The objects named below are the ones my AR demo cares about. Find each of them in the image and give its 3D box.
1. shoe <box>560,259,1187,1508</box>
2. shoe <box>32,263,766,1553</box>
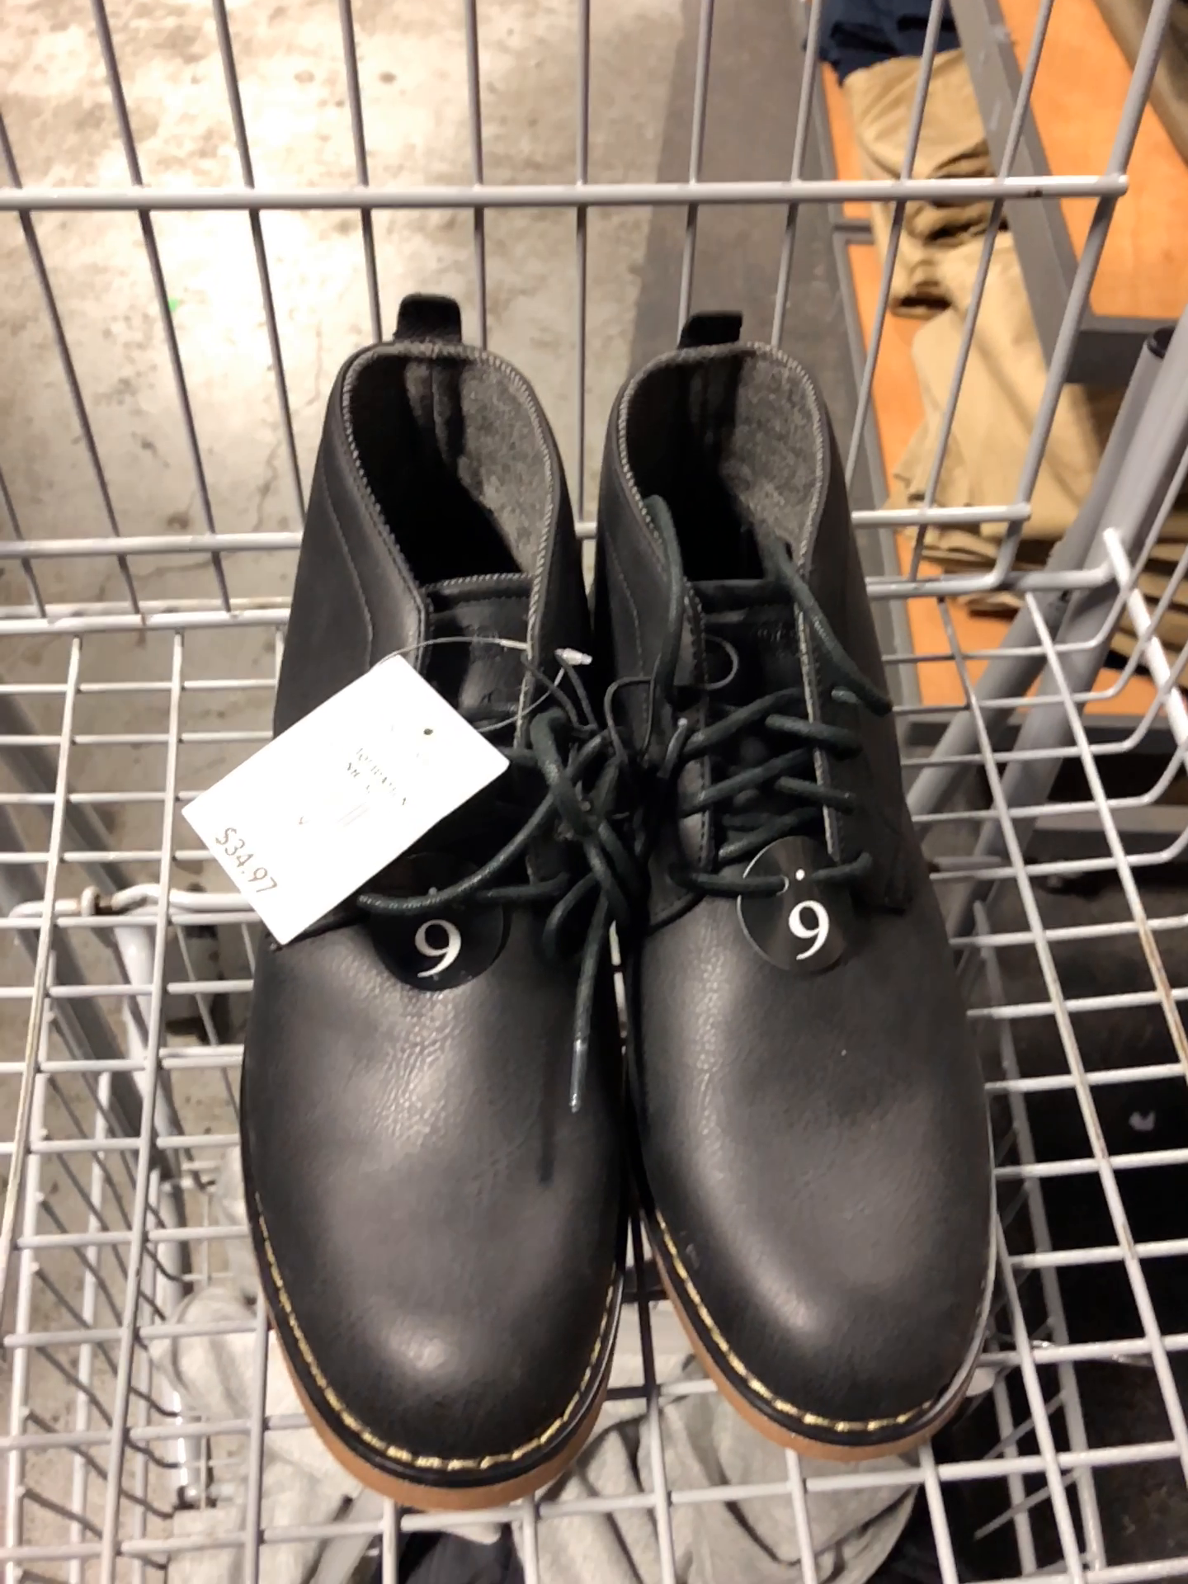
[{"bbox_3d":[0.053,0.028,0.355,0.100,0.199,0.272,-2,57,-5],"label":"shoe"},{"bbox_3d":[-0.041,0.034,0.334,0.100,0.199,0.262,-2,57,-5],"label":"shoe"}]
